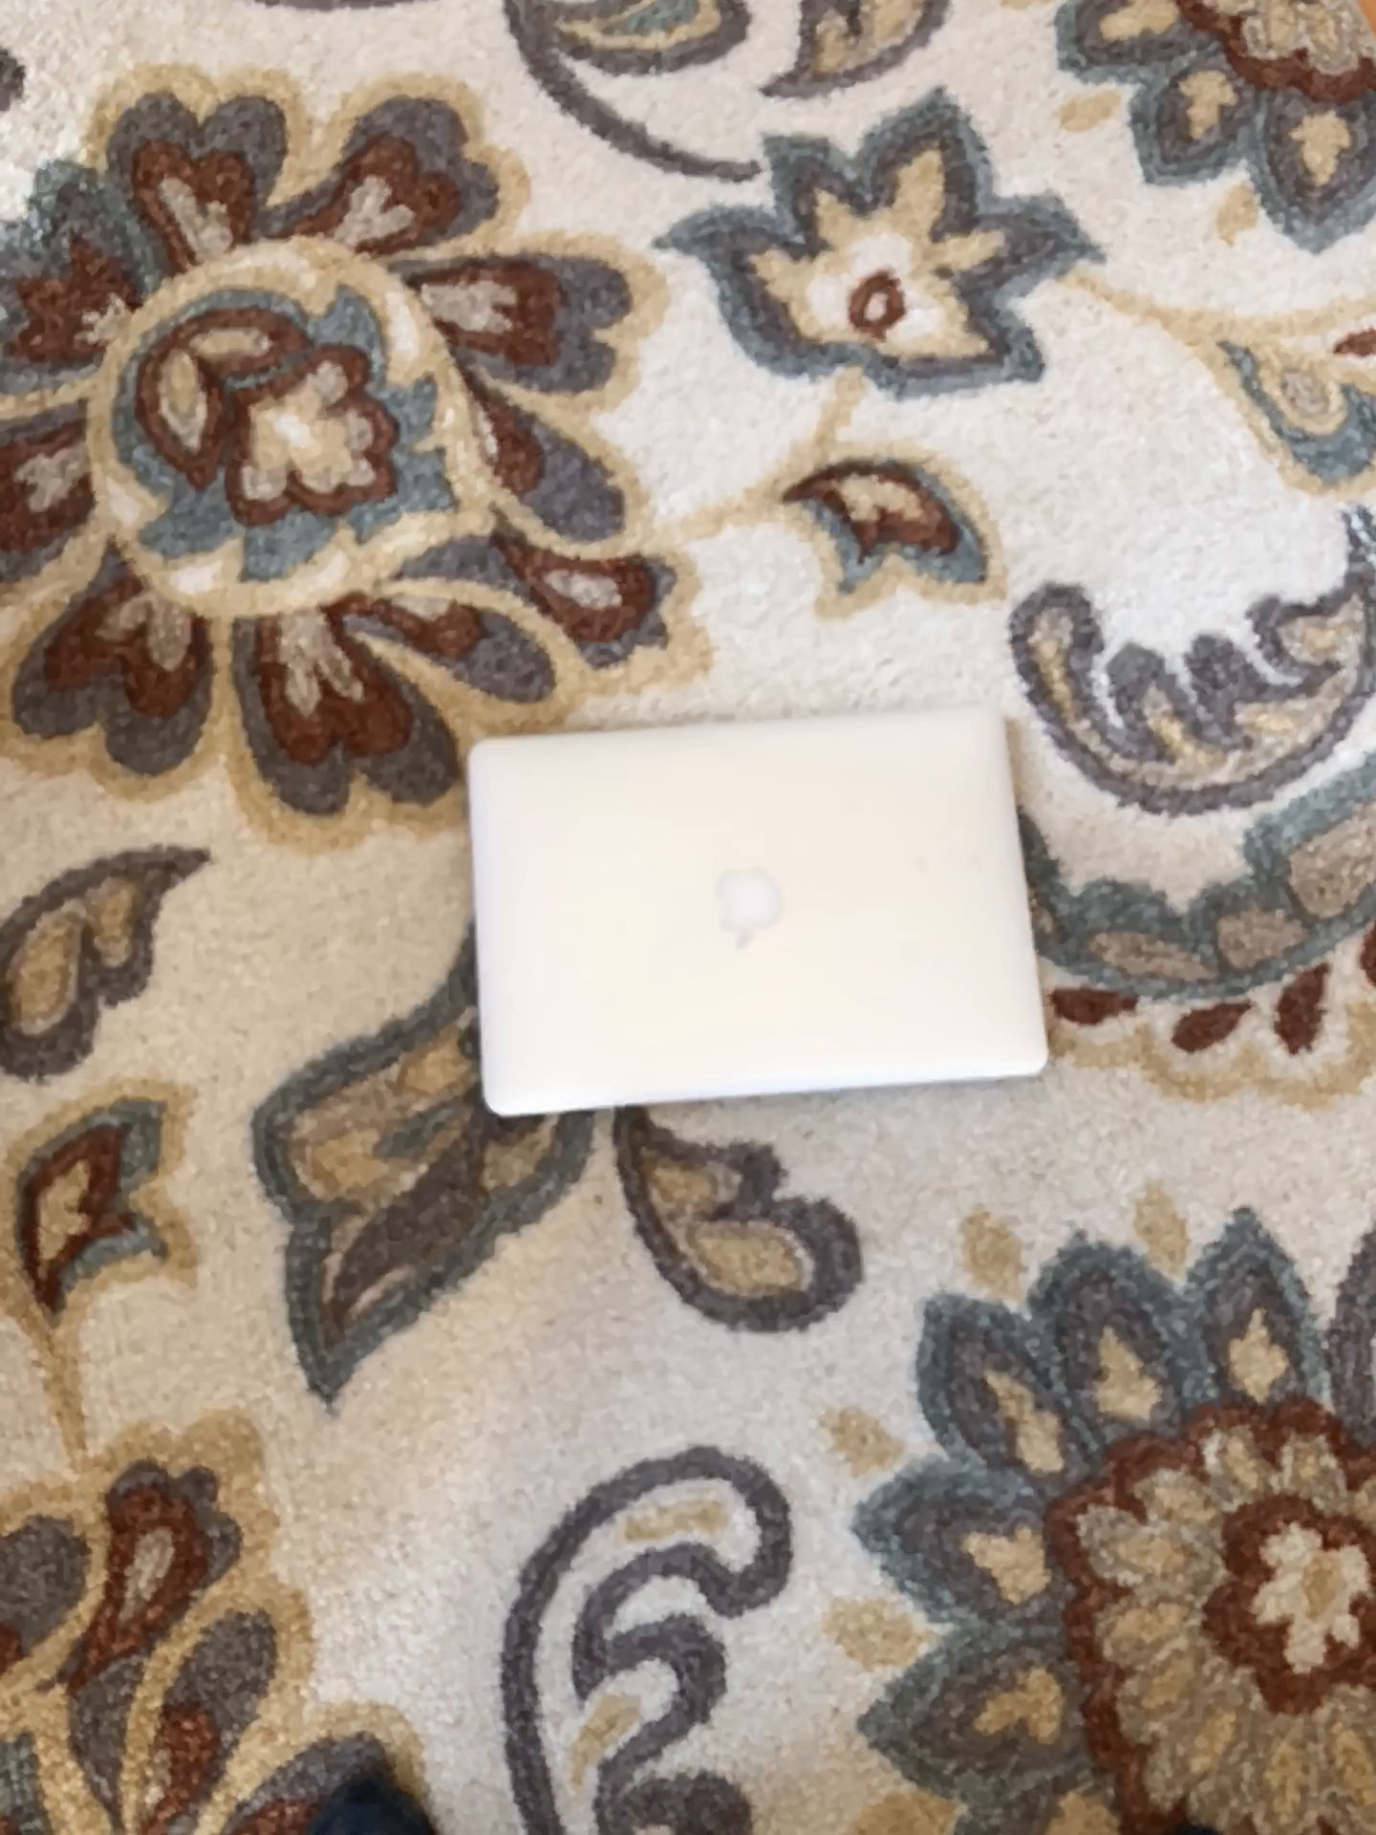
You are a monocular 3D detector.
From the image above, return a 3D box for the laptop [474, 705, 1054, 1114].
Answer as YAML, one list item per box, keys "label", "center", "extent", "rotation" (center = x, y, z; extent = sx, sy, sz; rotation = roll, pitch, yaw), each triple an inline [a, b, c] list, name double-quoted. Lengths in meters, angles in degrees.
- label: "laptop"
  center: [0.037, -0.008, 0.829]
  extent: [0.295, 0.001, 0.207]
  rotation: [-4, 77, -2]
